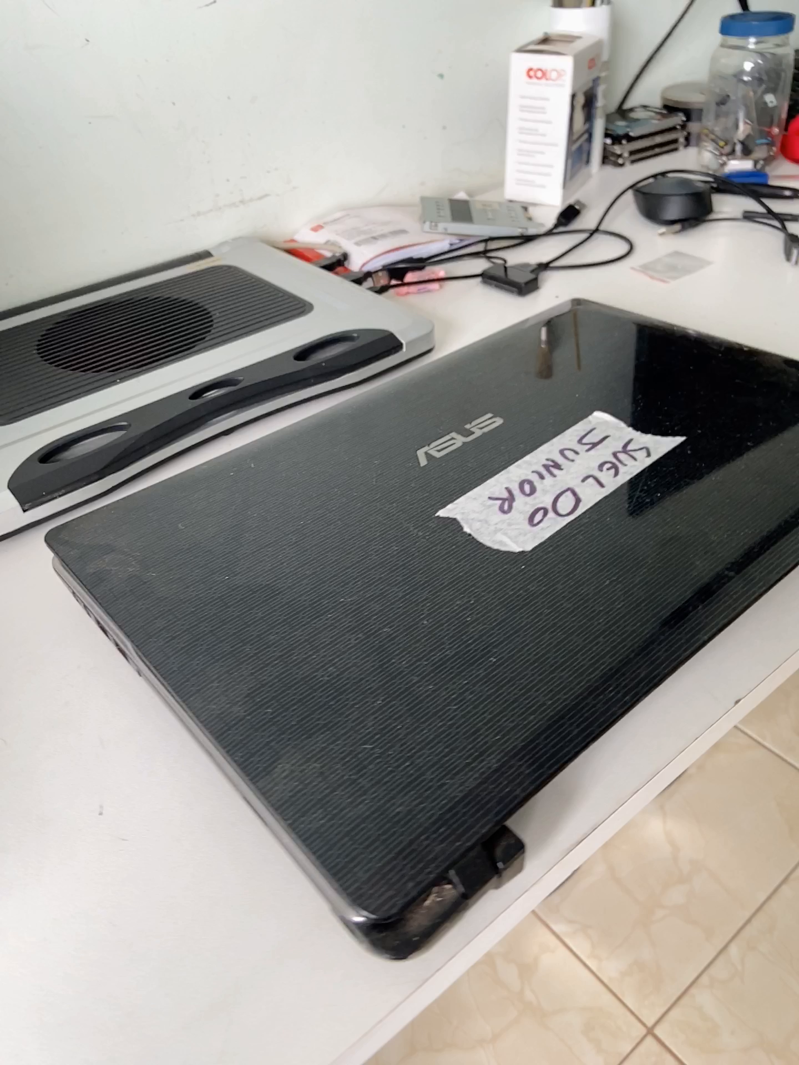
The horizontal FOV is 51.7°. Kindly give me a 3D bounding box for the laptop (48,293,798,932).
[{"bbox_3d":[0.054,-0.026,0.382,0.364,0.001,0.237,-30,43,-28],"label":"laptop"}]
